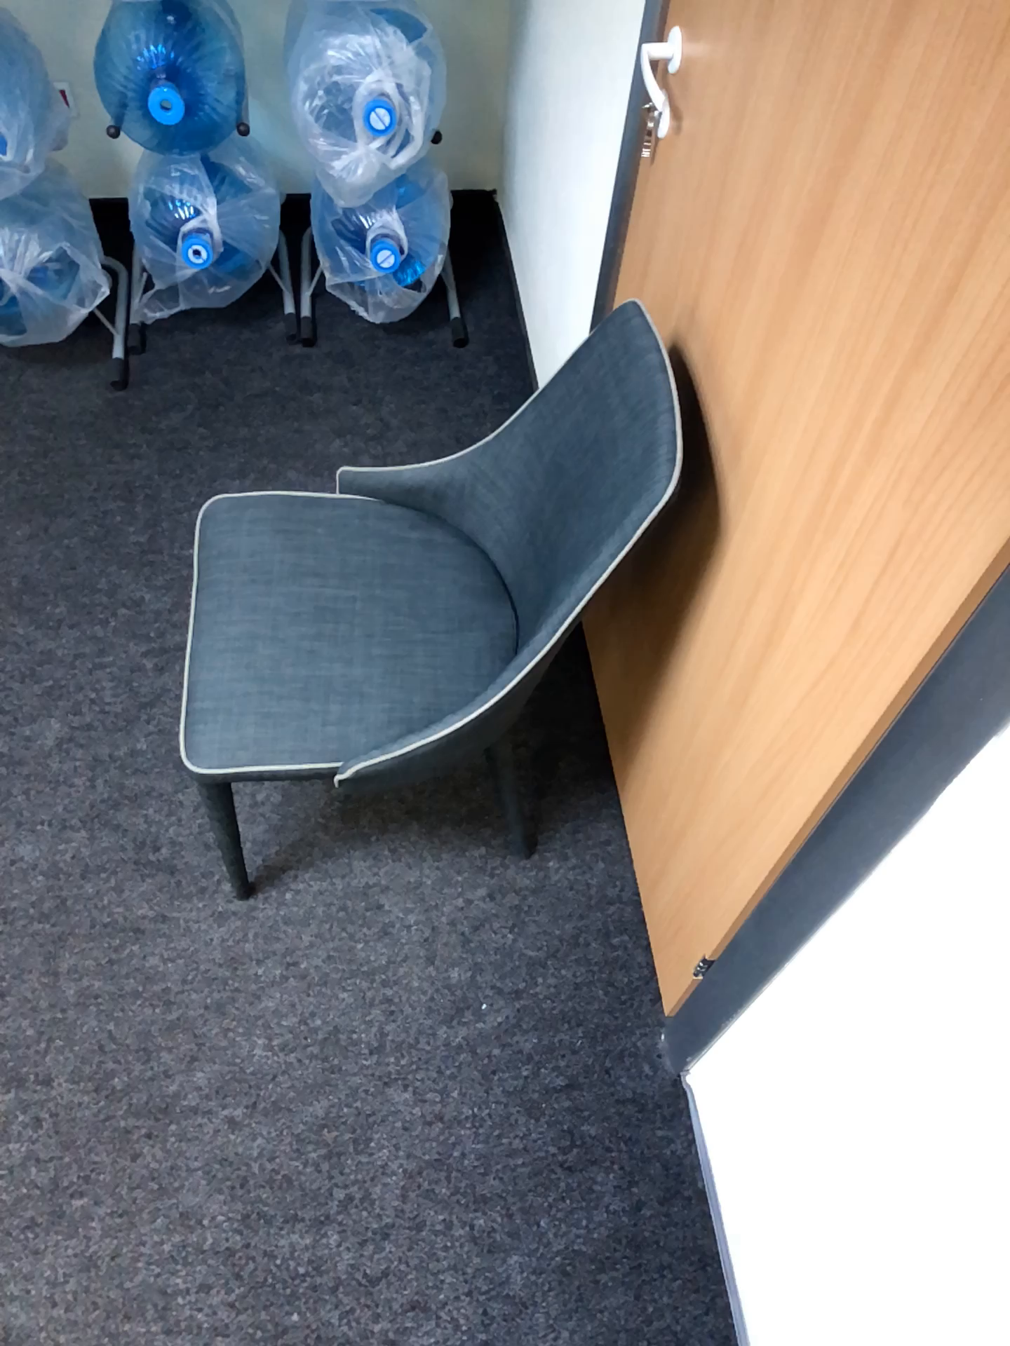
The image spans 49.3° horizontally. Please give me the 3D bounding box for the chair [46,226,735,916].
[{"bbox_3d":[-0.149,-0.084,1.523,0.640,0.846,0.522,-3,58,-6],"label":"chair"}]
